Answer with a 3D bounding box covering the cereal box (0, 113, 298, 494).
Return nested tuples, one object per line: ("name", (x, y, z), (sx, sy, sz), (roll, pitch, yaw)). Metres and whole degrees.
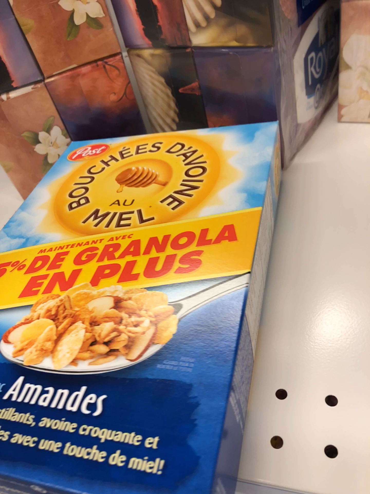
("cereal box", (-0.045, 0.012, 0.271), (0.210, 0.050, 0.271), (1, 45, 20))
